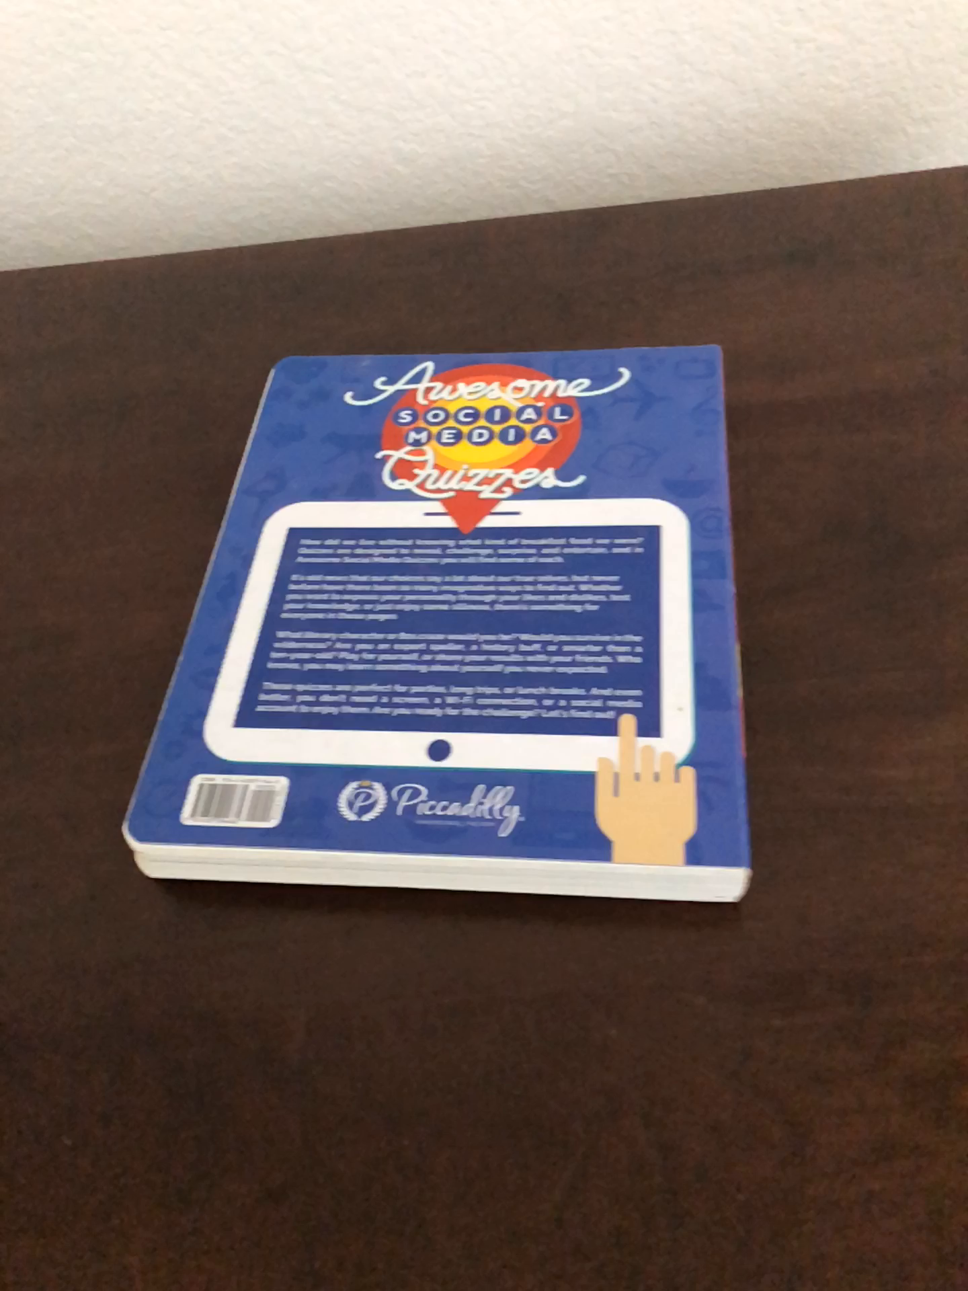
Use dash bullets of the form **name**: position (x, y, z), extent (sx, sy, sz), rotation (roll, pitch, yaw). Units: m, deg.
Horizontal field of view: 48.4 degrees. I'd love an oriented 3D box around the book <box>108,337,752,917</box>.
- **book**: position (-0.006, -0.020, 0.343), extent (0.166, 0.030, 0.201), rotation (1, 54, 8)
